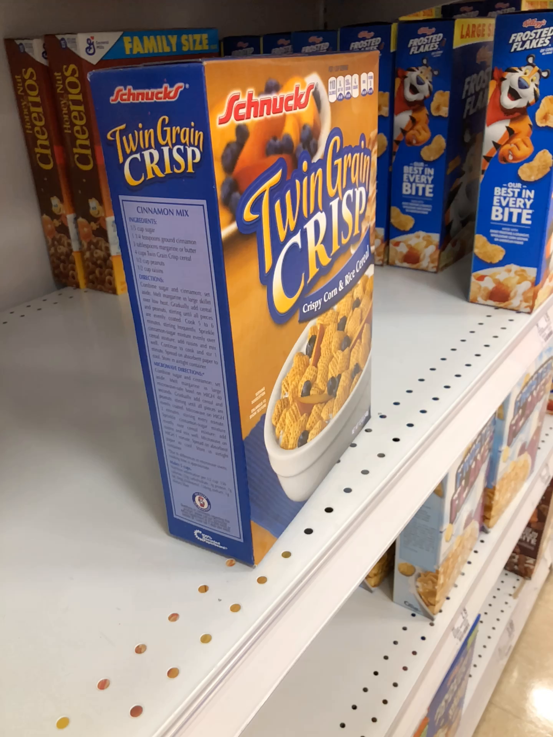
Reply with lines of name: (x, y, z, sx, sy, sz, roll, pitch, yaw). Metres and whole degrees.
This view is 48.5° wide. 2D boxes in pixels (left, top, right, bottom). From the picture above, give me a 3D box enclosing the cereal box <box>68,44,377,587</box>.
cereal box: (-0.007, -0.047, 0.403, 0.070, 0.289, 0.210, 11, 30, 25)
